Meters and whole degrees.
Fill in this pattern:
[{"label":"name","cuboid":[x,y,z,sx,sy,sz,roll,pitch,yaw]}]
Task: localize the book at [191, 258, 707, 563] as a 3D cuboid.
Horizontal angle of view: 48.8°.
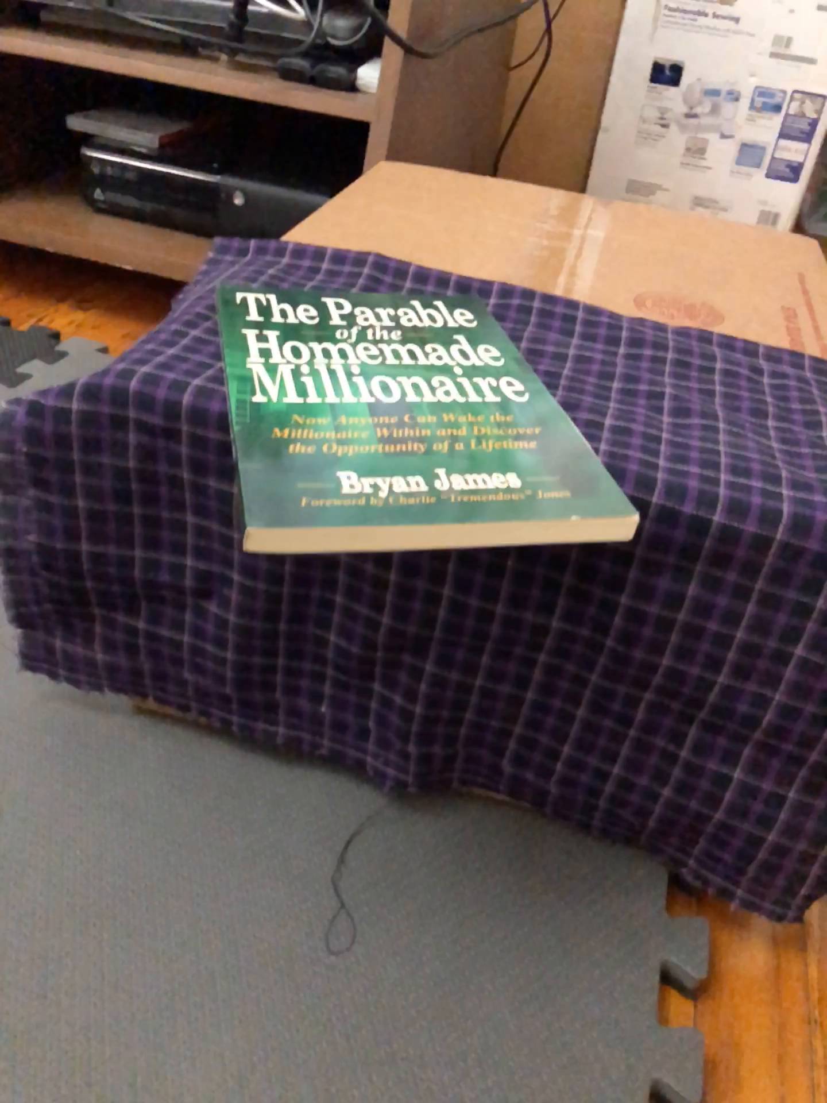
[{"label":"book","cuboid":[-0.005,-0.071,0.370,0.160,0.020,0.211,-3,37,-14]}]
